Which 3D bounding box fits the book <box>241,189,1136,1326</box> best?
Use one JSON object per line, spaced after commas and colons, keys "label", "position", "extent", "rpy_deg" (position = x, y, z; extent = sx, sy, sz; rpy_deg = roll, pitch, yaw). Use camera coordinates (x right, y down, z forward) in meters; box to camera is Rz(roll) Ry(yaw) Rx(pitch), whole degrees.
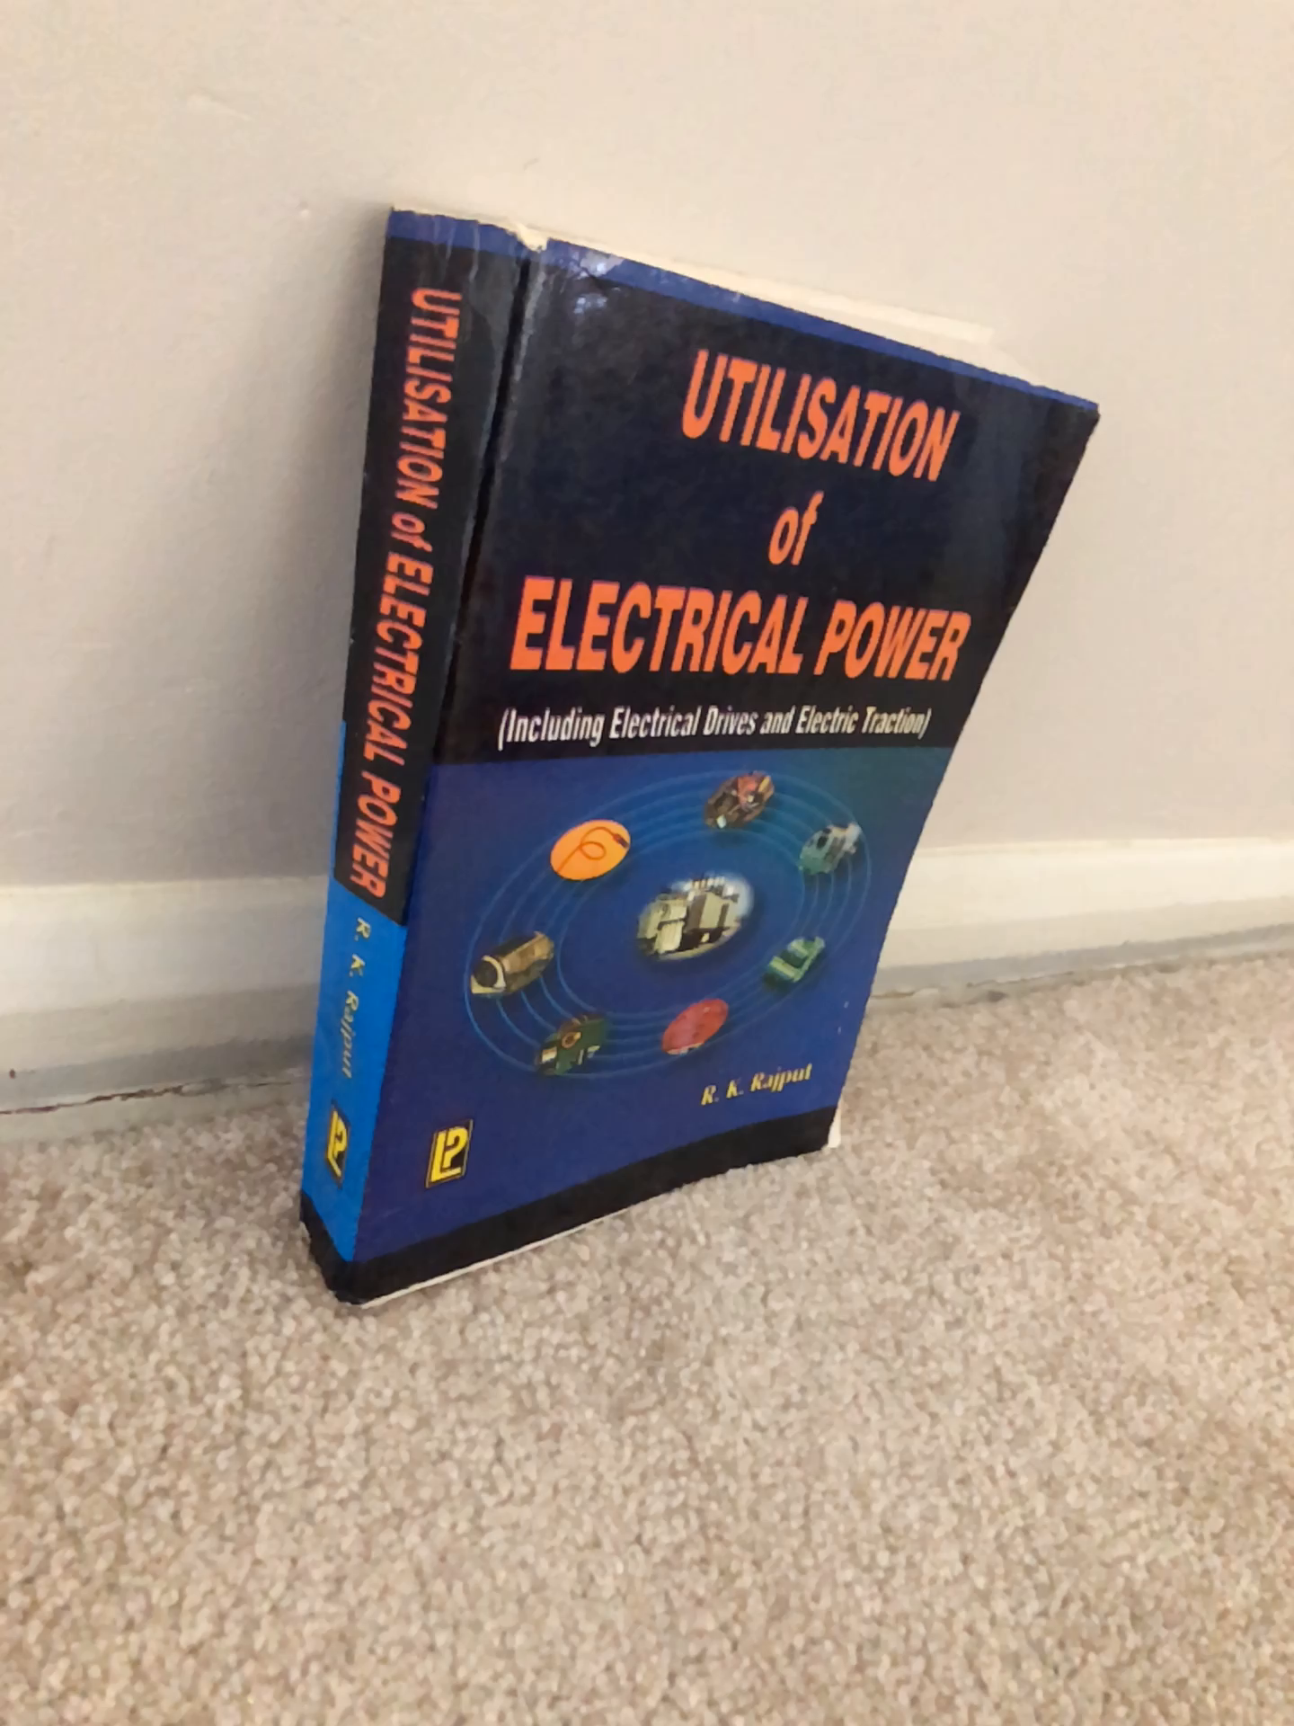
{"label": "book", "position": [0.012, -0.021, 0.357], "extent": [0.191, 0.229, 0.050], "rpy_deg": [-7, 29, -42]}
